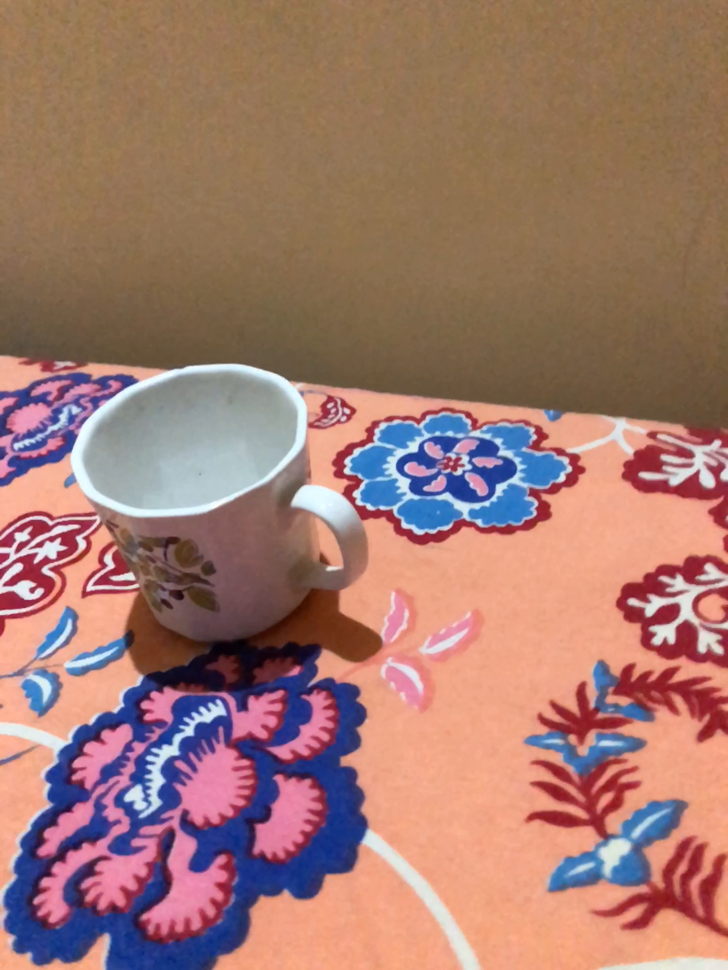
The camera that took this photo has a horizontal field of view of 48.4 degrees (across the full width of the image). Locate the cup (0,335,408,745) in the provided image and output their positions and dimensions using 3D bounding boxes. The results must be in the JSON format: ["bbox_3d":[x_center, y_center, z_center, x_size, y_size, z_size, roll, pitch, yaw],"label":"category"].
[{"bbox_3d":[-0.046,0.011,0.229,0.090,0.069,0.060,19,49,31],"label":"cup"}]
